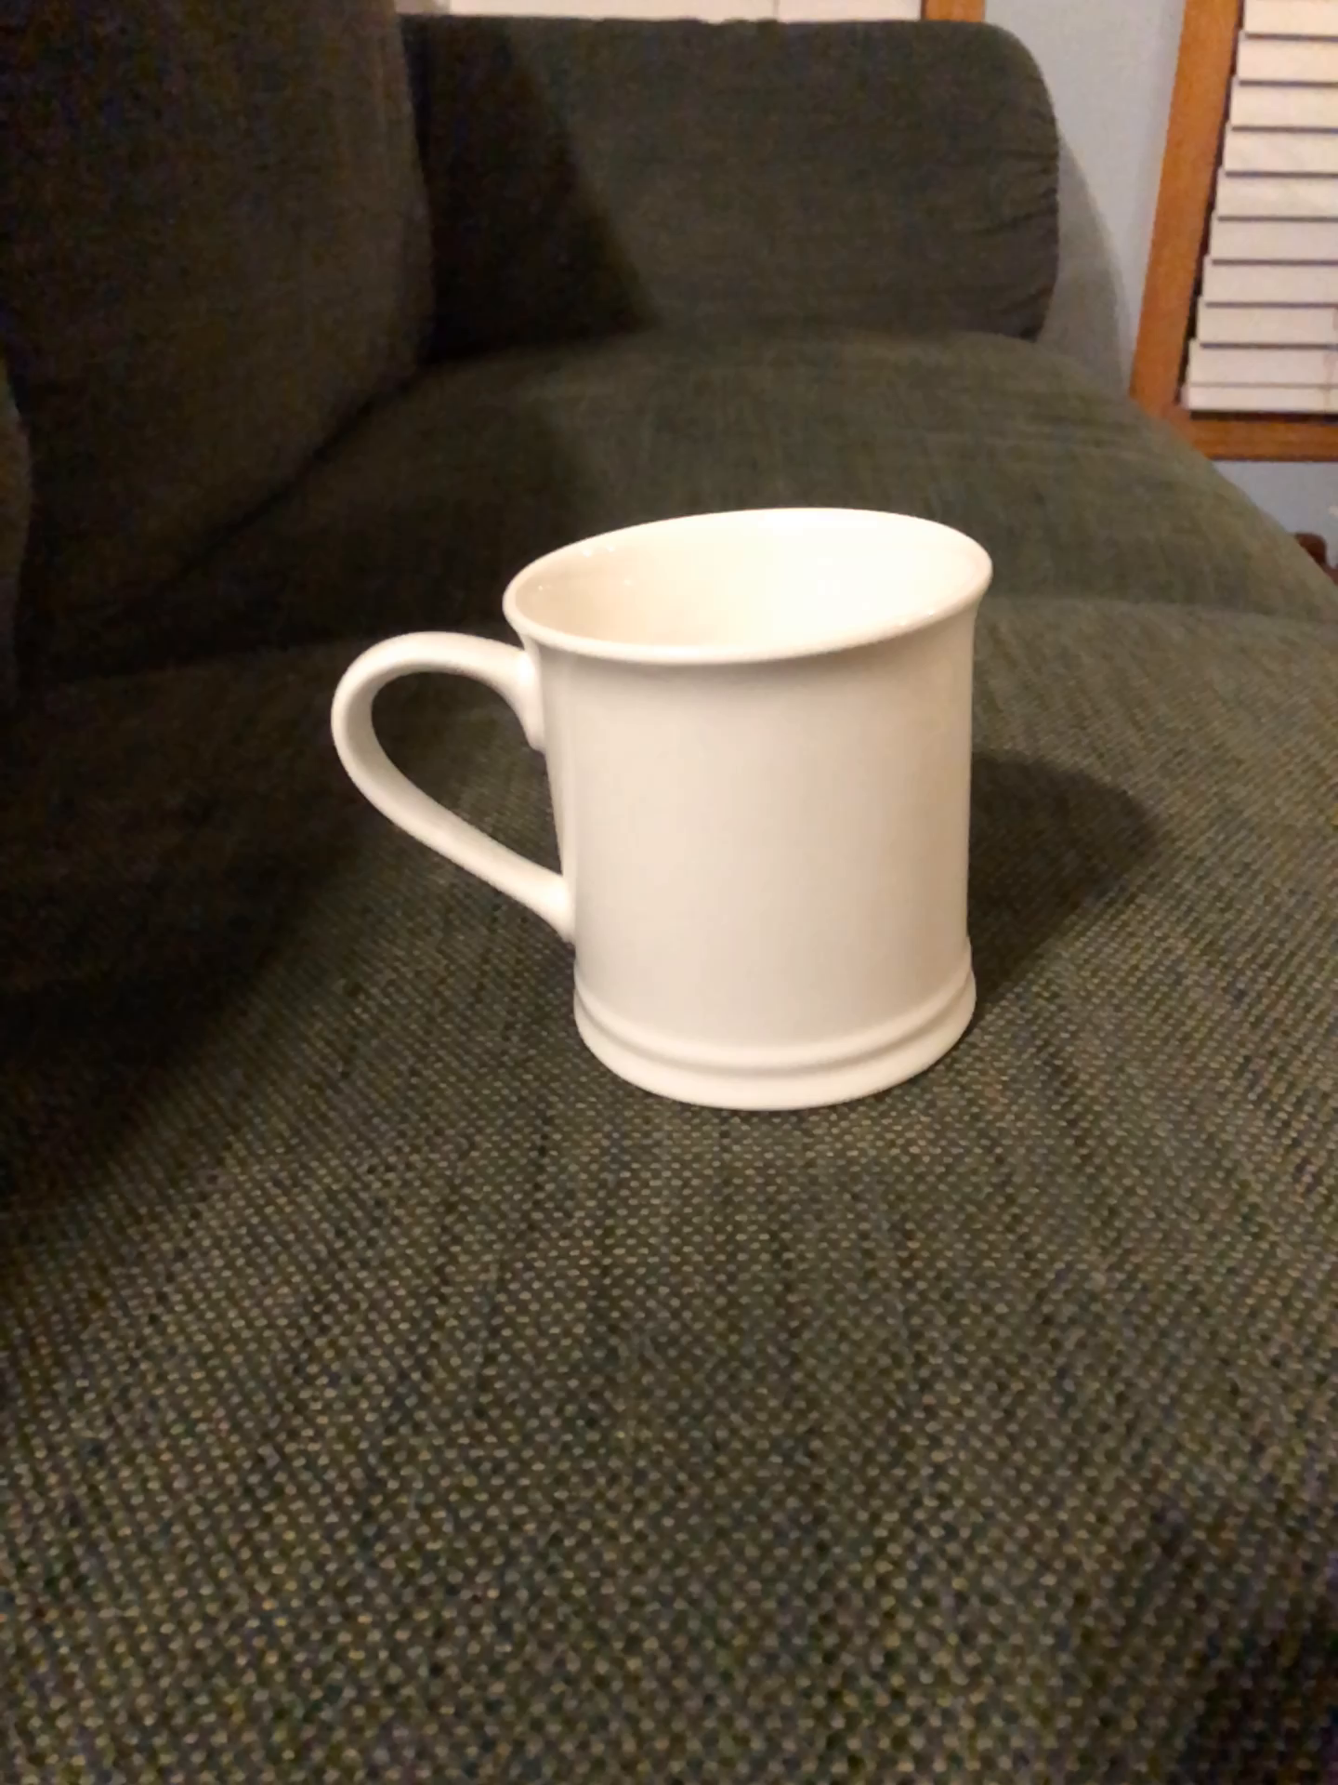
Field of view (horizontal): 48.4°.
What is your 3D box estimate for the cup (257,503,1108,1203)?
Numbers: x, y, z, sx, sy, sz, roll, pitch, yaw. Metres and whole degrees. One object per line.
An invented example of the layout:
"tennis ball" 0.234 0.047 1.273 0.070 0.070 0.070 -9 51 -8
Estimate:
"cup" 0.001 -0.014 0.311 0.140 0.099 0.101 -5 28 -4
